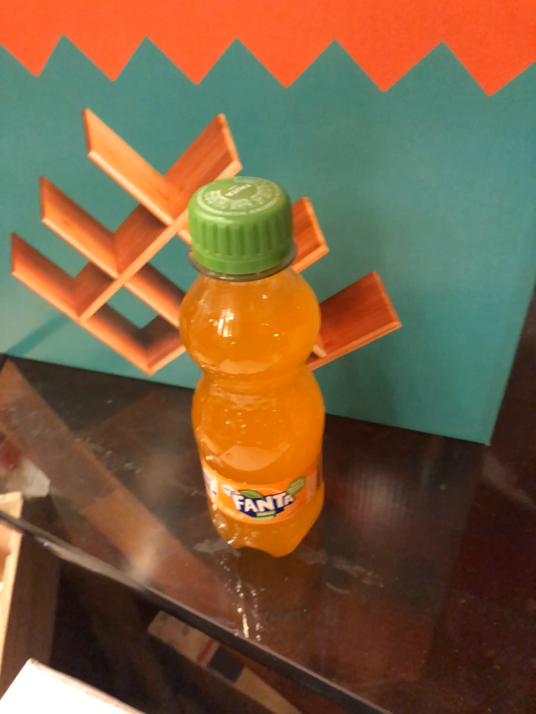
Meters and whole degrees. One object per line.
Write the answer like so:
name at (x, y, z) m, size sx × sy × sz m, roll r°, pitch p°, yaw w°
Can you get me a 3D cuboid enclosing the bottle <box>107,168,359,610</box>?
bottle at (0.000, 0.021, 0.215) m, size 0.060 × 0.159 × 0.060 m, roll -3°, pitch 41°, yaw 3°
